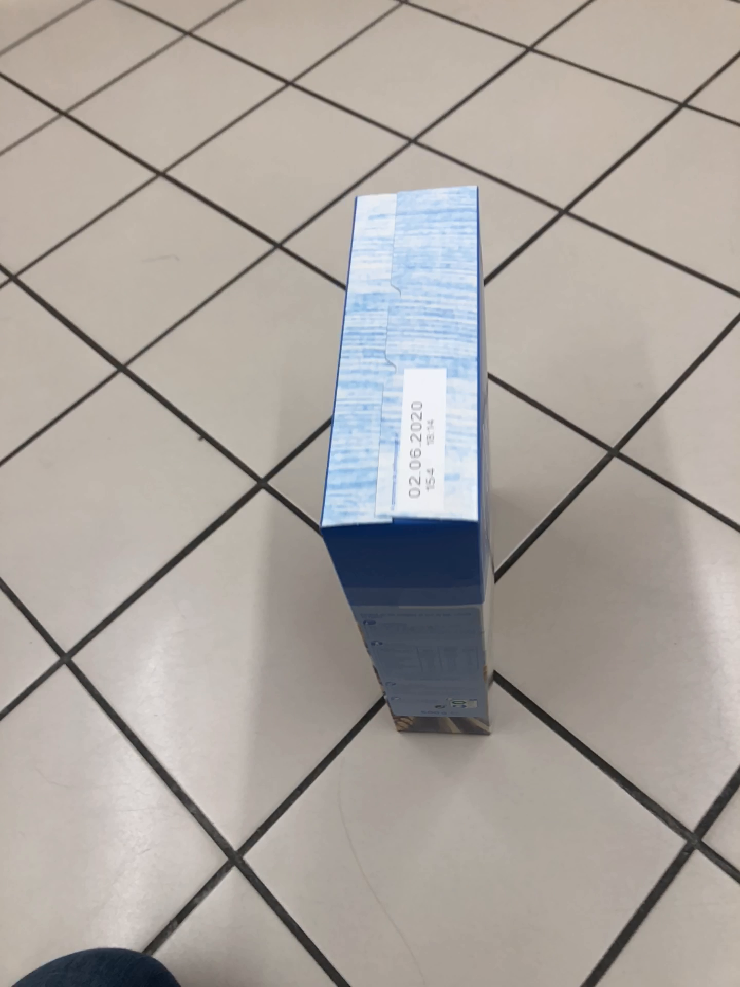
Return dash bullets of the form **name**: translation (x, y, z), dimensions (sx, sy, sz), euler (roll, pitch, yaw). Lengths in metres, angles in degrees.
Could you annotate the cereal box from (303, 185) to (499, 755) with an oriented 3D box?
- **cereal box**: translation (0.035, 0.011, 0.472), dimensions (0.070, 0.289, 0.201), euler (-2, 58, 8)
